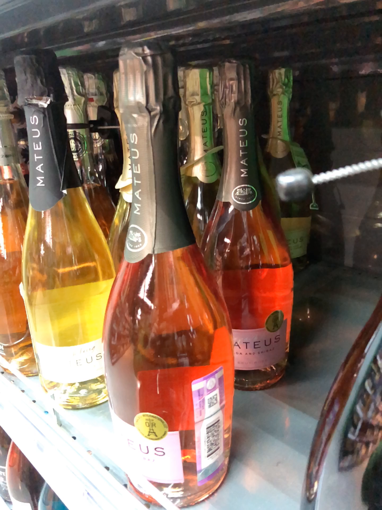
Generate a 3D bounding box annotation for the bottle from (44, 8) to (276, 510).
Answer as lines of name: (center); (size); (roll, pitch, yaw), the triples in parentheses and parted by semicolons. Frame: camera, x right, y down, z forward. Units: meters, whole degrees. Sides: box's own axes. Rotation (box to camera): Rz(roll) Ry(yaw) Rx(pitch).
bottle: (-0.011, 0.024, 0.294); (0.100, 0.319, 0.090); (15, 26, 42)
